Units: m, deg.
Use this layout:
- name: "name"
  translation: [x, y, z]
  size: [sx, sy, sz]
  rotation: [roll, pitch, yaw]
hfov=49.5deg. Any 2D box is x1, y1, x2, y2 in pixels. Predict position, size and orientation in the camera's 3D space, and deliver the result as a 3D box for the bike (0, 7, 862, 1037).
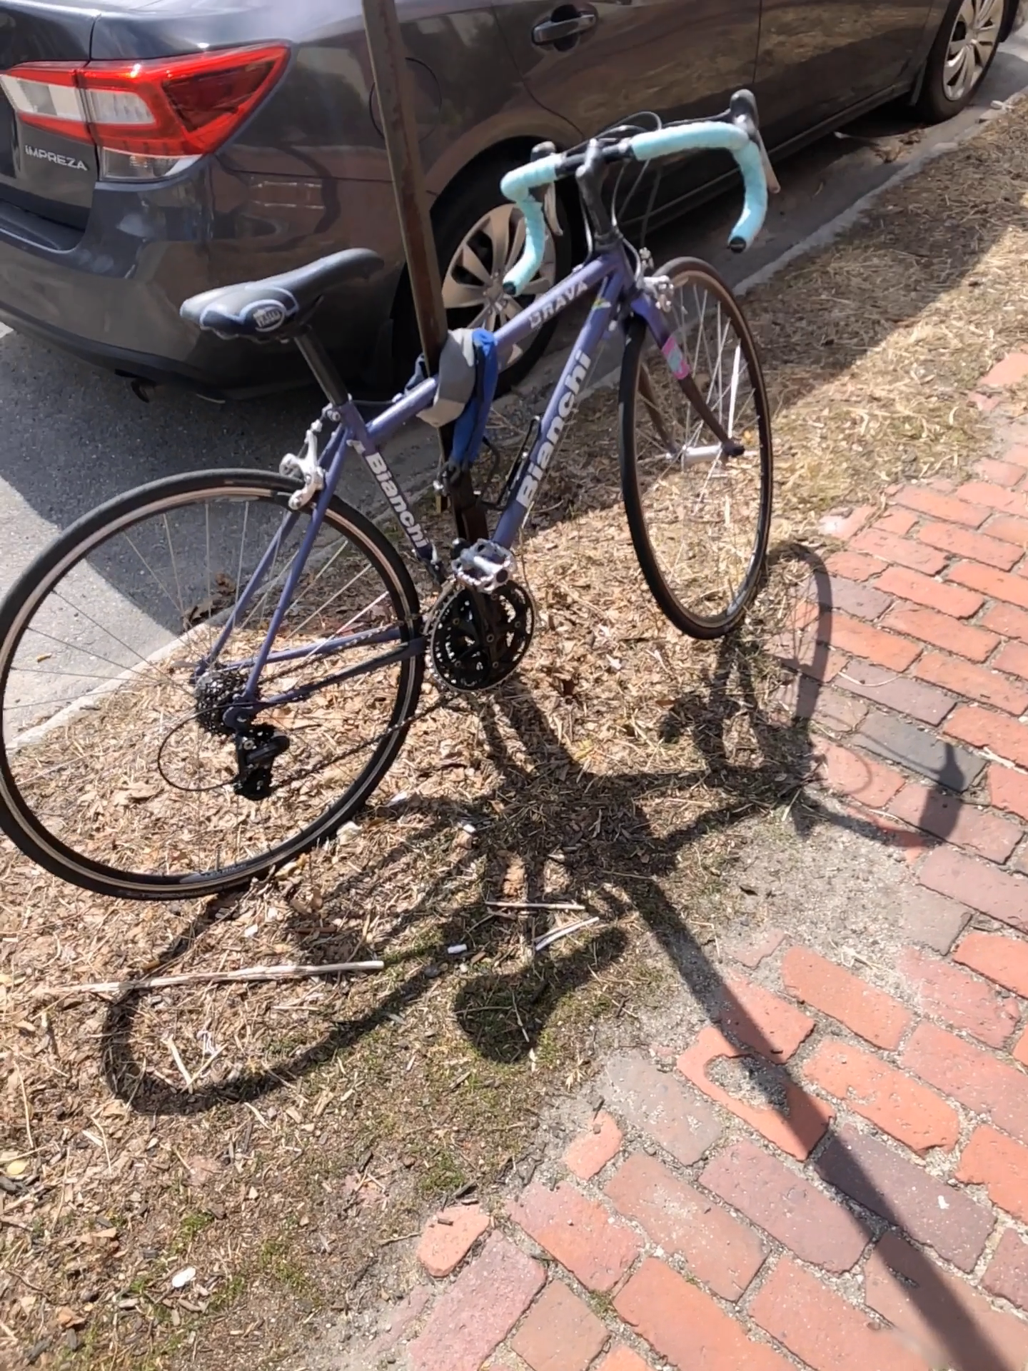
- name: "bike"
  translation: [-0.143, -0.335, 1.700]
  size: [1.452, 0.735, 0.461]
  rotation: [-36, 47, -23]
